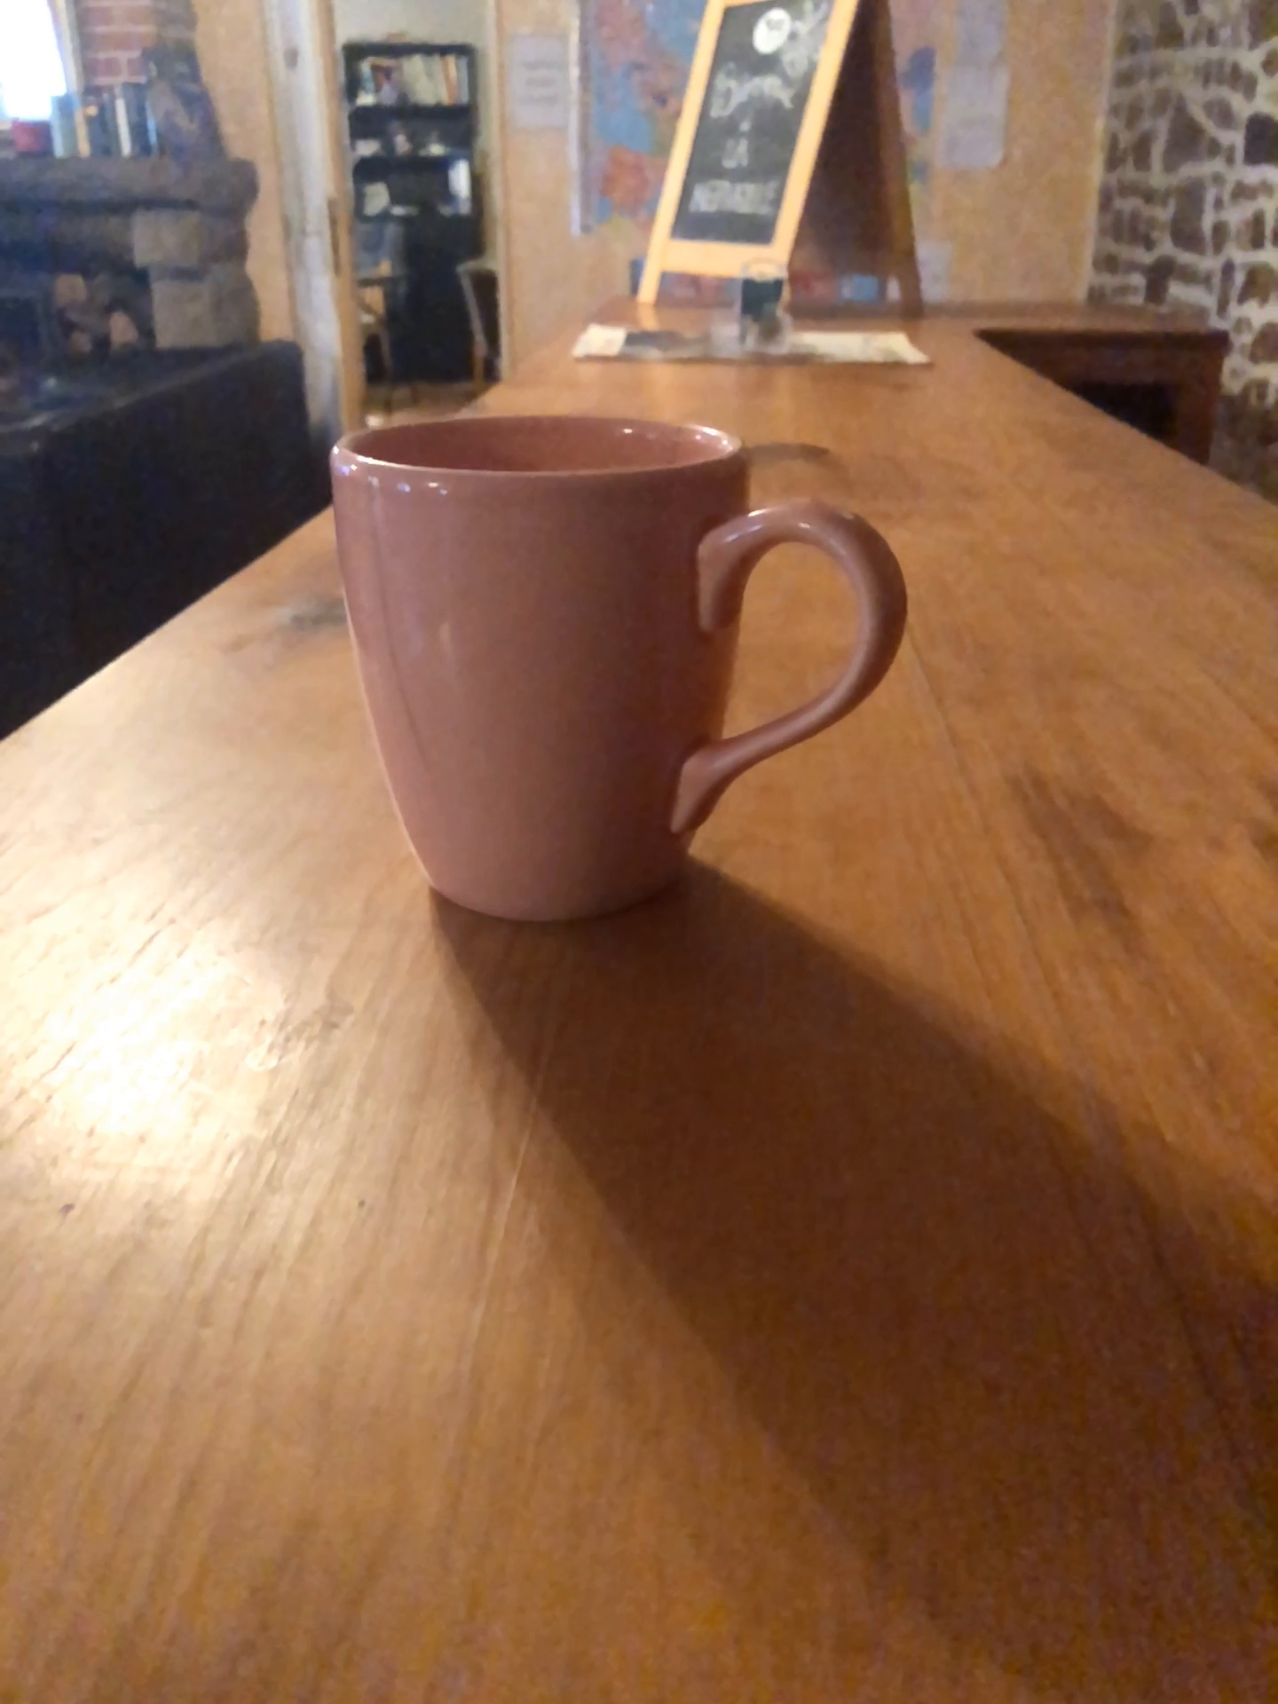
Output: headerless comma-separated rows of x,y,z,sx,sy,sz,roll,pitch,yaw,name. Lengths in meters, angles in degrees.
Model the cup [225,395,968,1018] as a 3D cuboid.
-0.005,-0.041,0.304,0.121,0.095,0.091,12,27,25,cup
